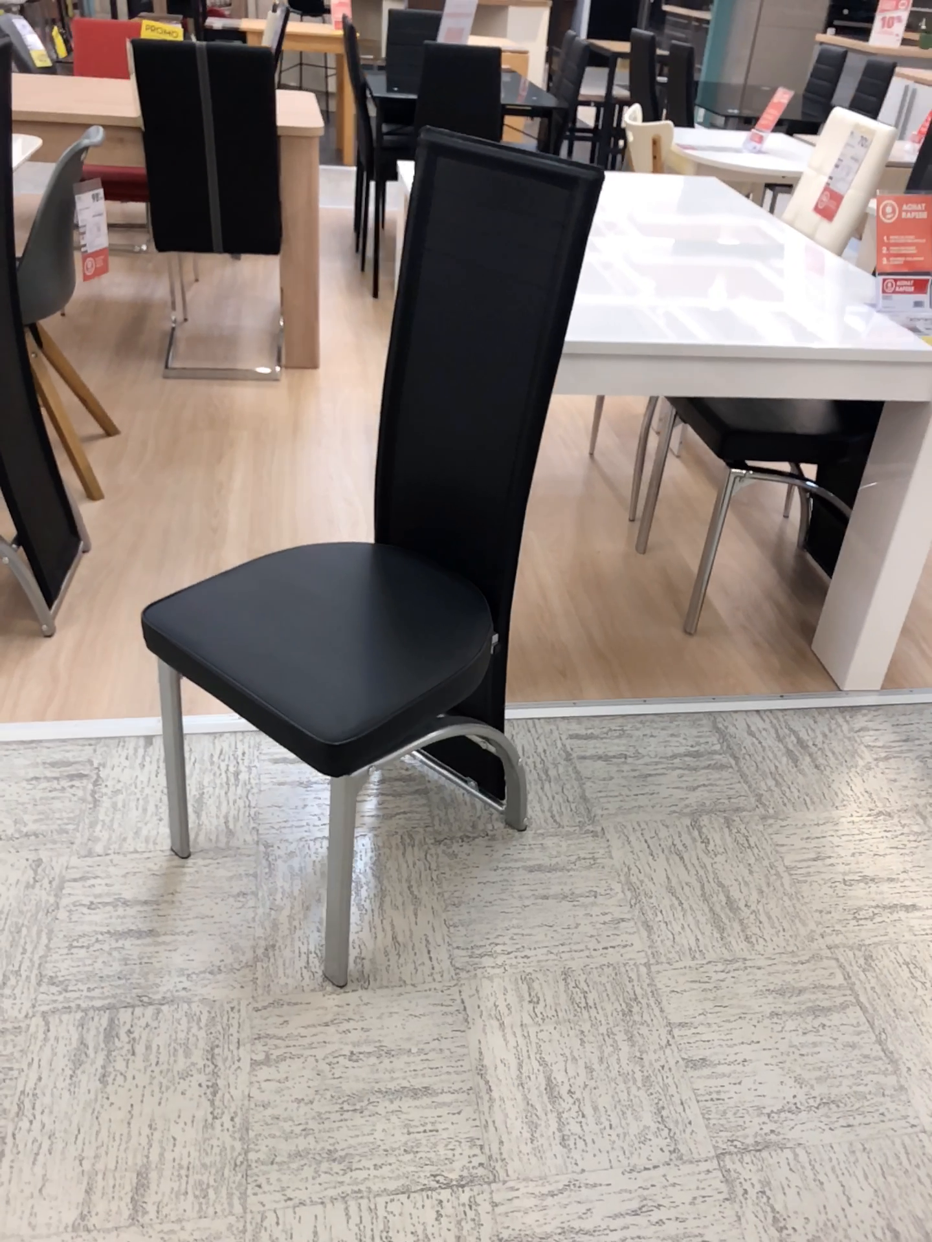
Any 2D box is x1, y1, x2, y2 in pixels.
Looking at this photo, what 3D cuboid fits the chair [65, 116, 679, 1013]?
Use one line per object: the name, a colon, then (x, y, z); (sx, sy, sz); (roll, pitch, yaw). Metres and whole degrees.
chair: (-0.124, -0.080, 1.383); (0.450, 1.013, 0.493); (28, 39, 31)
